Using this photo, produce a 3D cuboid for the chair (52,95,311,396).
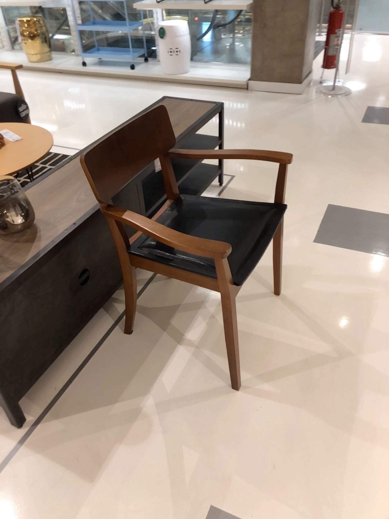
[{"bbox_3d":[0.010,-0.074,1.466,0.571,0.744,0.564,13,41,21],"label":"chair"}]
